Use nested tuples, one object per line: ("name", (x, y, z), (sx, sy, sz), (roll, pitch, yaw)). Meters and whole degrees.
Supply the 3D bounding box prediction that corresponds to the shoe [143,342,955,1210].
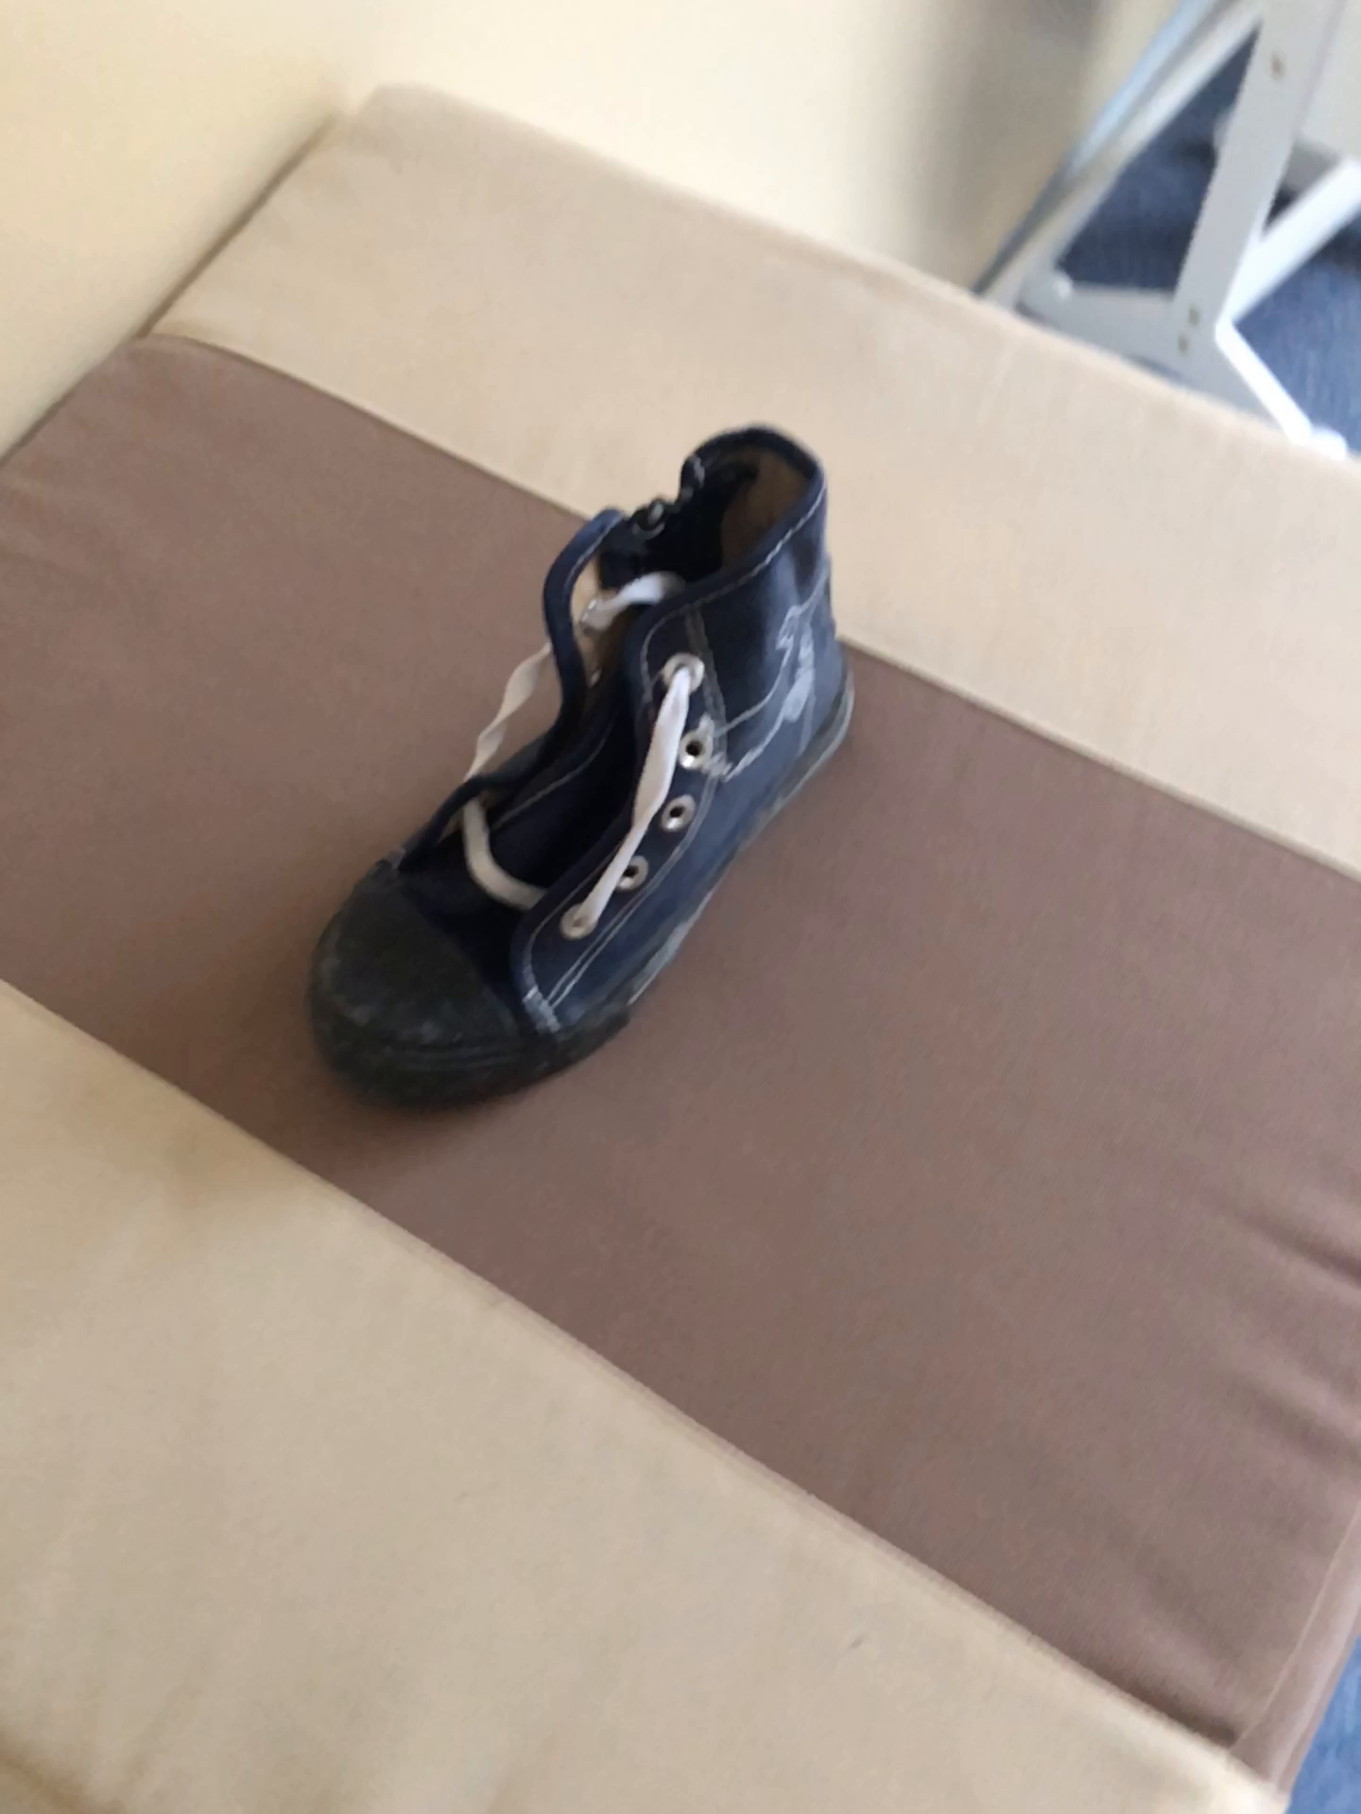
("shoe", (-0.024, -0.036, 0.410), (0.090, 0.100, 0.201), (34, 71, 18))
